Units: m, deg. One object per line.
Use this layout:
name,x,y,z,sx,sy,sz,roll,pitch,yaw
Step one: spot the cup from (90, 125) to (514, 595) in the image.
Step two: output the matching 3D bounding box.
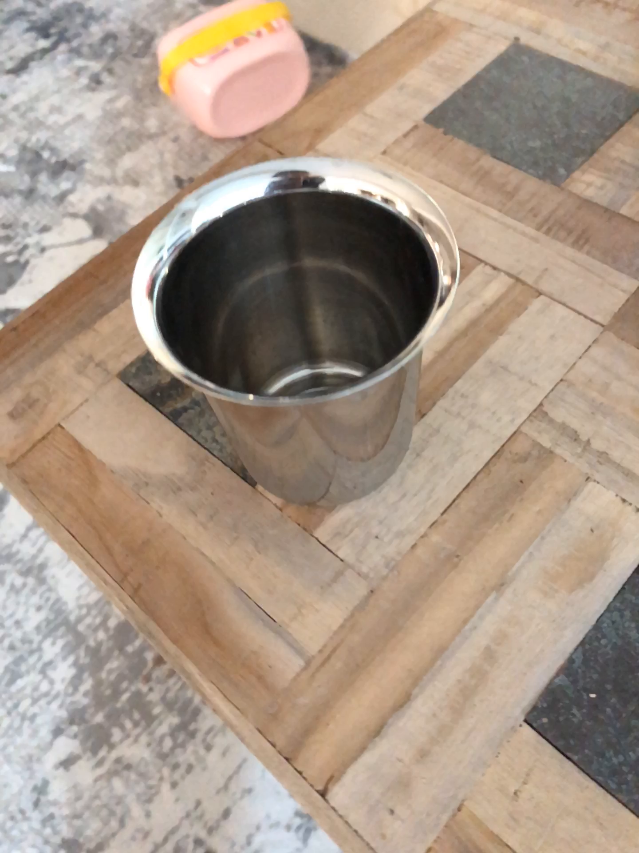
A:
cup,-0.005,-0.016,0.216,0.084,0.088,0.082,-3,59,6
